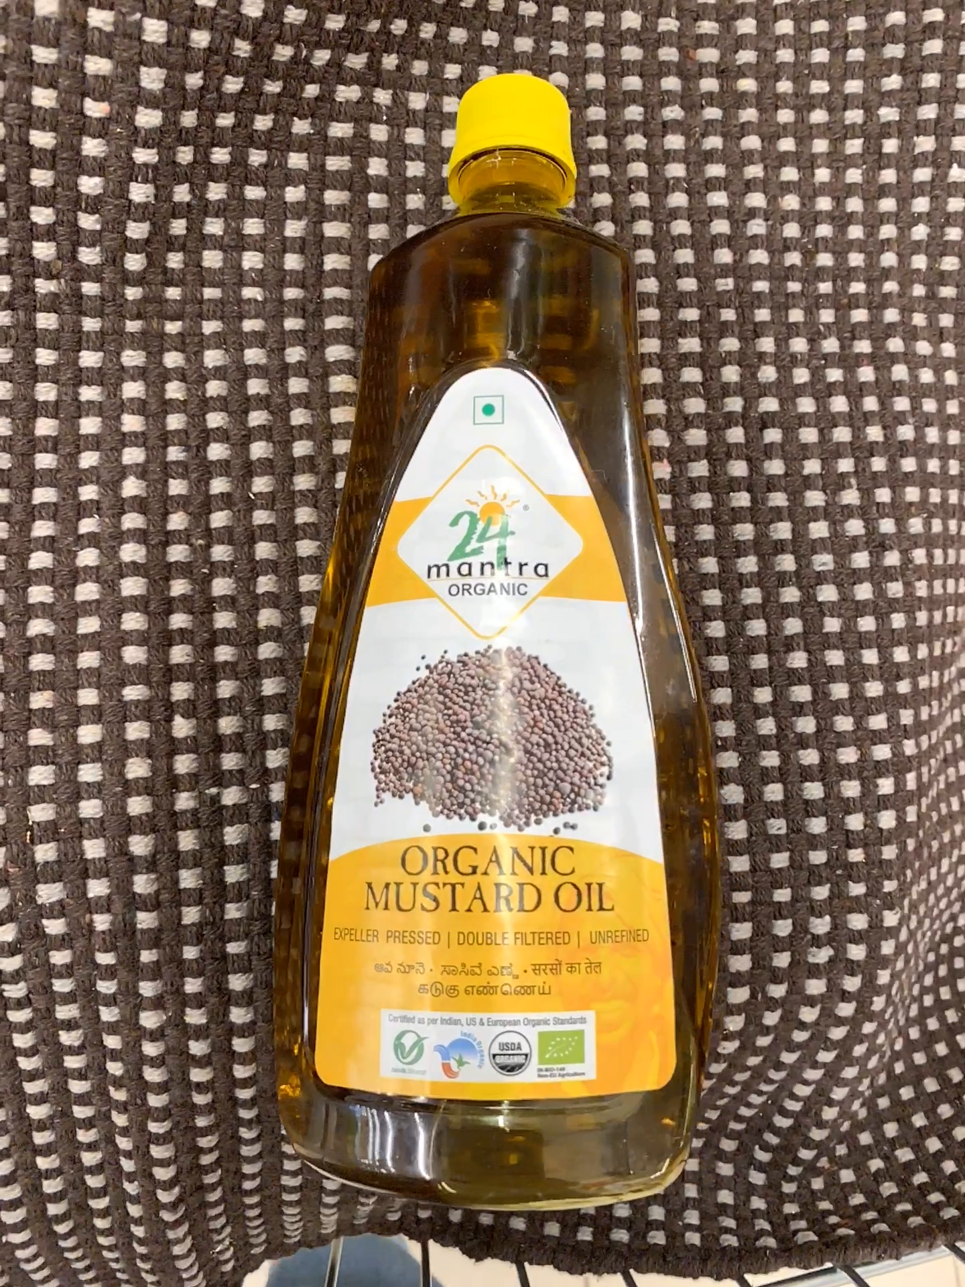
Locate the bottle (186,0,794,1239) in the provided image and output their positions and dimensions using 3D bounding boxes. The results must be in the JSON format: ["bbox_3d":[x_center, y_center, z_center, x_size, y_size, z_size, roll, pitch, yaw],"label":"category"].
[{"bbox_3d":[0.002,-0.012,0.224,0.110,0.060,0.250,2,90,2],"label":"bottle"}]
